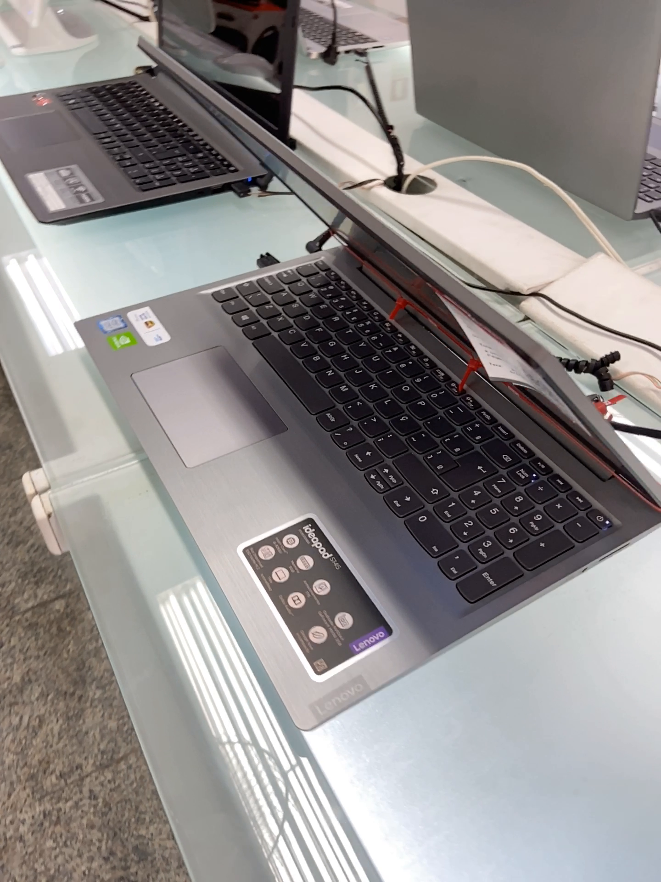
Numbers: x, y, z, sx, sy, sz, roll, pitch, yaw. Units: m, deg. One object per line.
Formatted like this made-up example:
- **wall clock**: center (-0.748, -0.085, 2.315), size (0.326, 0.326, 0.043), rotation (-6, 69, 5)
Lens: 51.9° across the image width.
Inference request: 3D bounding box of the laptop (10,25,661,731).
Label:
- **laptop**: center (0.002, -0.088, 0.403), size (0.245, 0.175, 0.361), rotation (-22, 49, -22)
